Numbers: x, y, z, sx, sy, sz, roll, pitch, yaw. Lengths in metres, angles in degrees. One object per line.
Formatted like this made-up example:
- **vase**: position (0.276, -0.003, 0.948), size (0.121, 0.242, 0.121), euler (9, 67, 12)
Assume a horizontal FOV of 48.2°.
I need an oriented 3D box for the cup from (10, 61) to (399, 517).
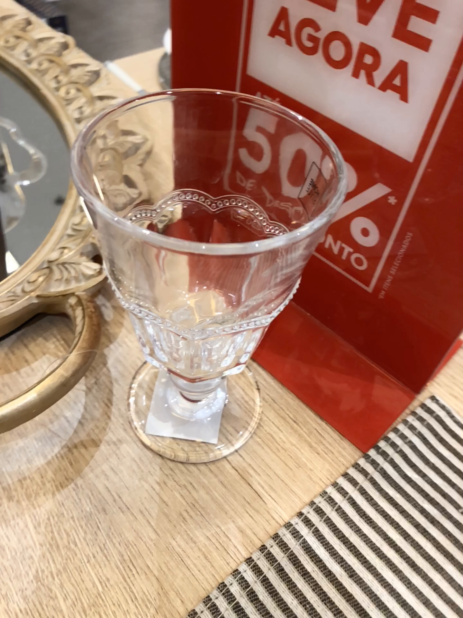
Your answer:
- **cup**: position (-0.014, -0.001, 0.201), size (0.080, 0.139, 0.080), euler (3, 49, -3)
